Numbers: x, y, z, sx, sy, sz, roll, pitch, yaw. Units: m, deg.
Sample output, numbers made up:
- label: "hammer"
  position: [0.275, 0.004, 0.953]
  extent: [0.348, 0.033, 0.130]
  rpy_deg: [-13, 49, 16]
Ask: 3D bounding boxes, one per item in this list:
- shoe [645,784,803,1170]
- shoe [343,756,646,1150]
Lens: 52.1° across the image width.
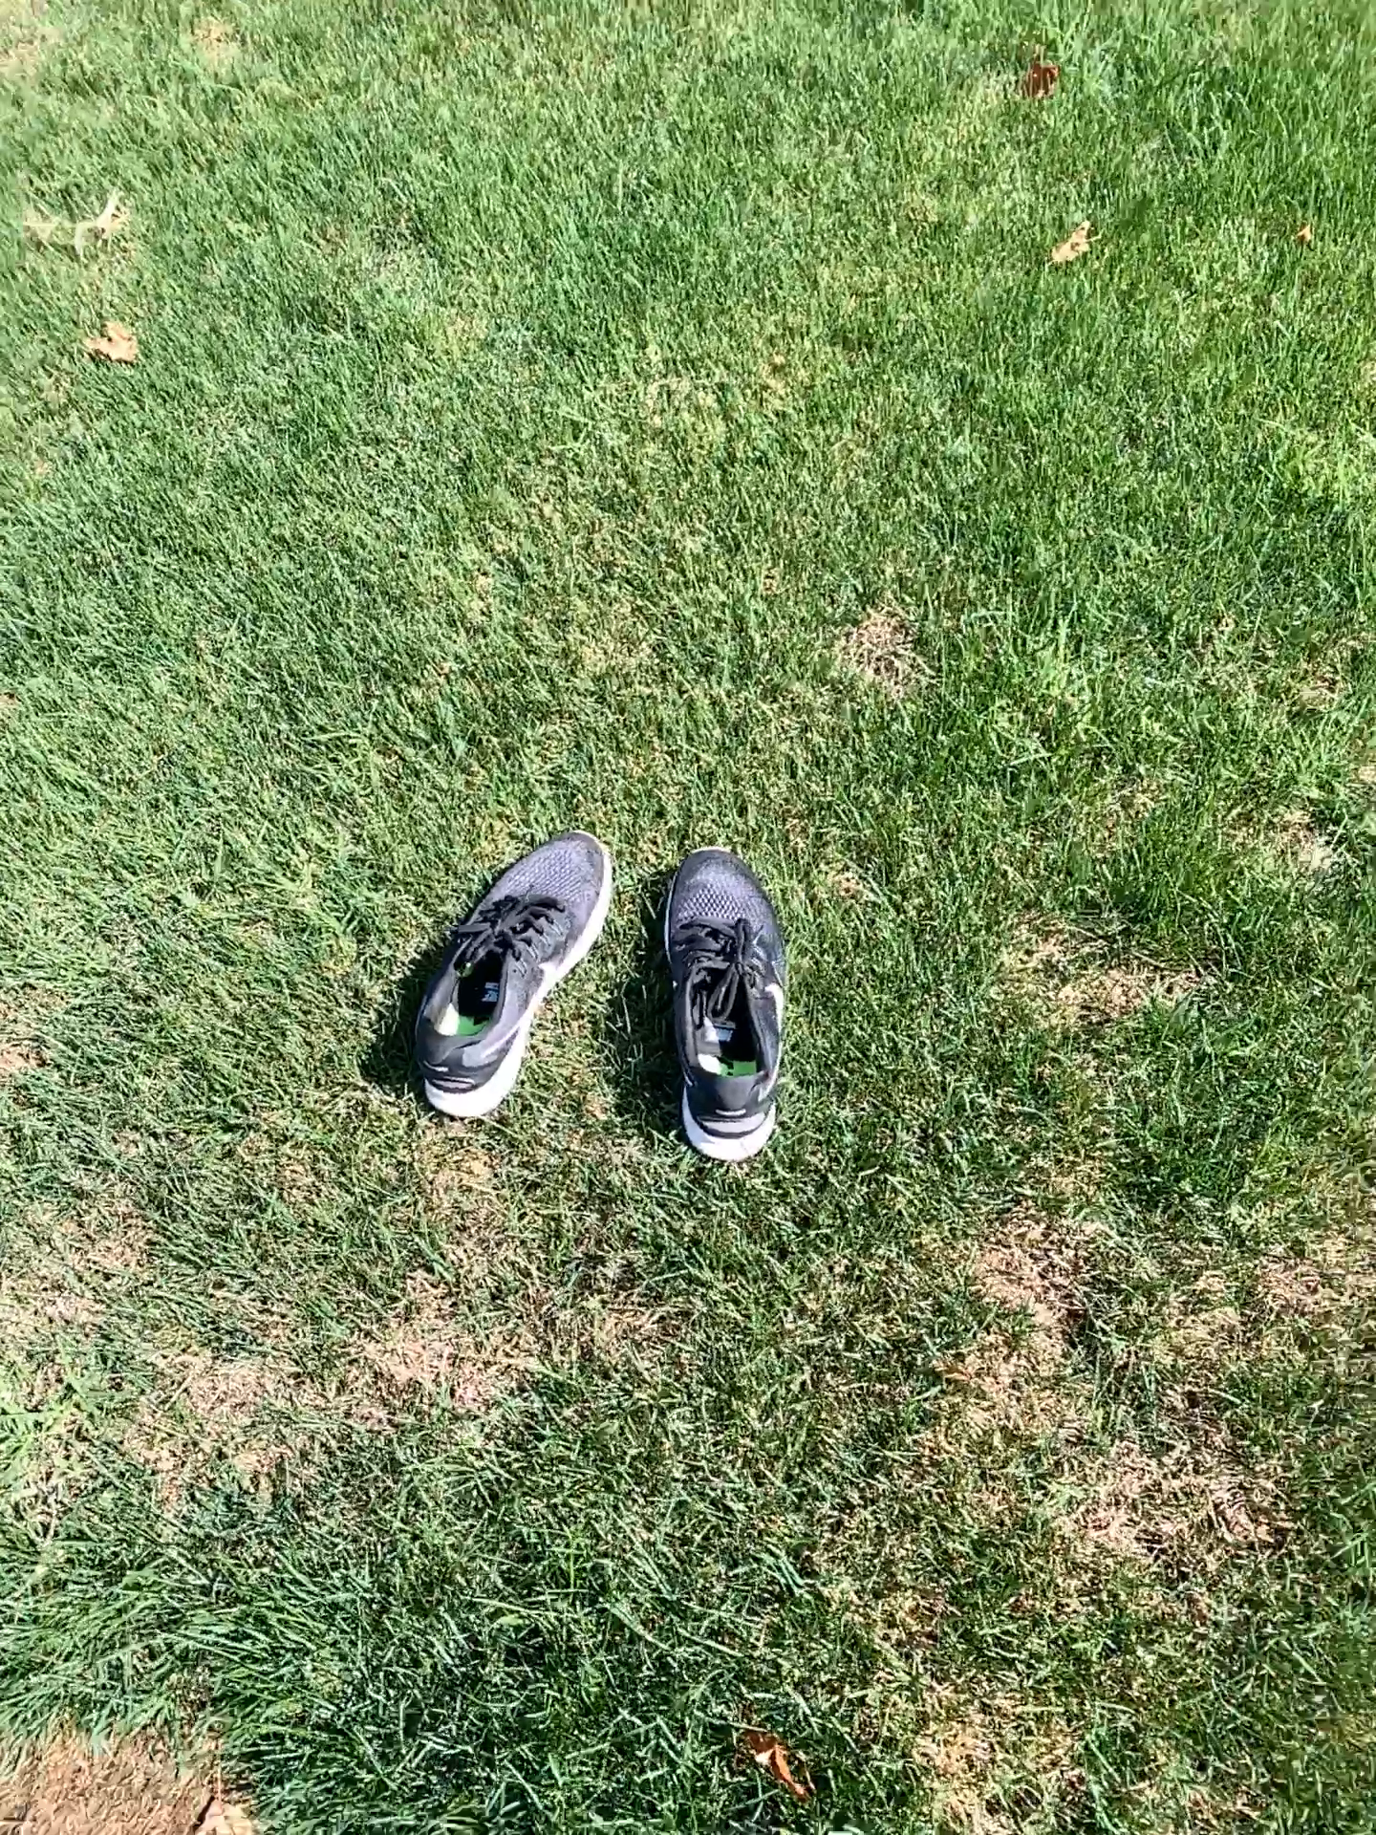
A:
- label: "shoe"
  position: [0.028, 0.046, 1.121]
  extent: [0.100, 0.130, 0.270]
  rpy_deg: [-5, 60, 3]
- label: "shoe"
  position: [-0.148, 0.027, 1.155]
  extent: [0.100, 0.130, 0.280]
  rpy_deg: [21, 64, 16]
